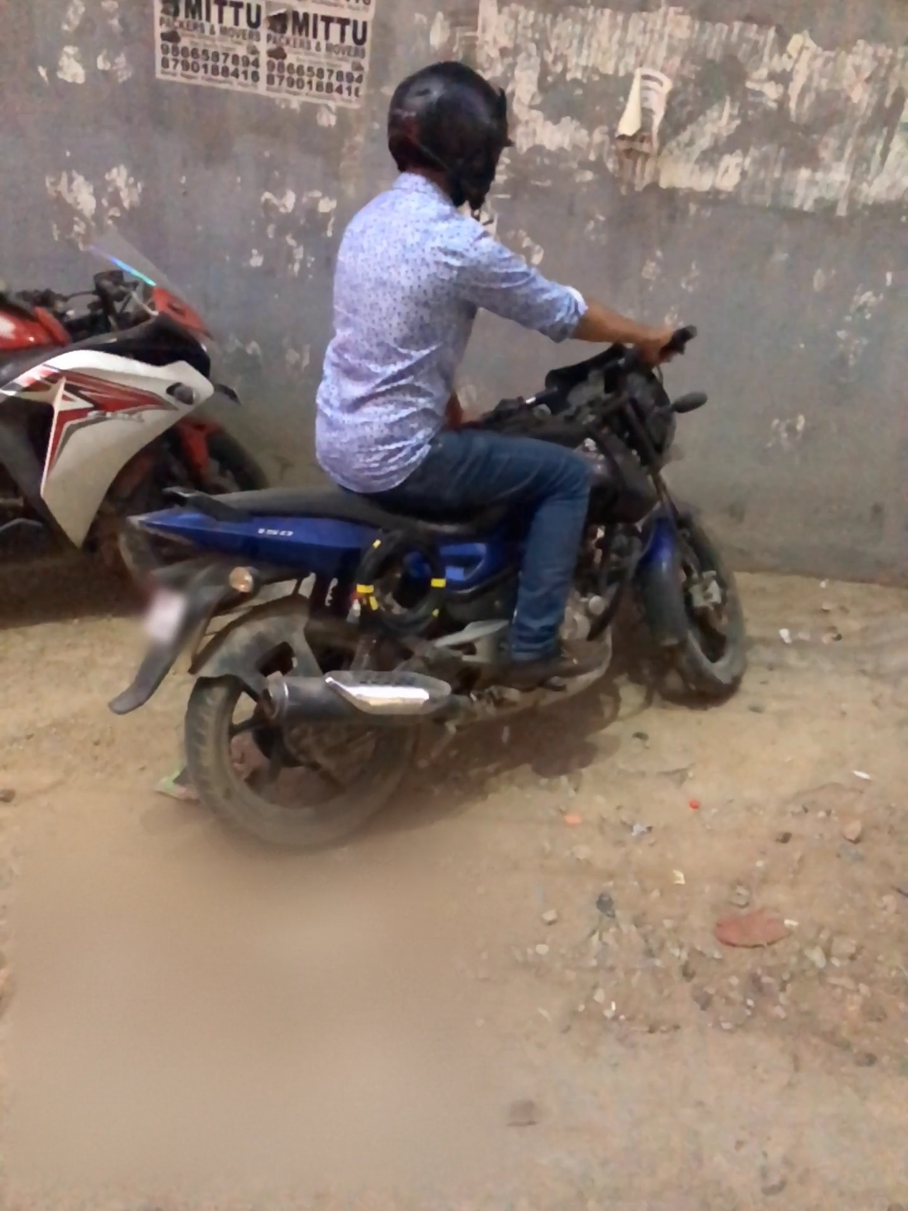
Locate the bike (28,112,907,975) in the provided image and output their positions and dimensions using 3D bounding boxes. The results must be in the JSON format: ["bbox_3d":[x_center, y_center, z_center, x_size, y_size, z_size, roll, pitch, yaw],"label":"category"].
[{"bbox_3d":[0.064,-0.284,2.343,1.507,1.113,1.094,-27,46,-32],"label":"bike"}]
